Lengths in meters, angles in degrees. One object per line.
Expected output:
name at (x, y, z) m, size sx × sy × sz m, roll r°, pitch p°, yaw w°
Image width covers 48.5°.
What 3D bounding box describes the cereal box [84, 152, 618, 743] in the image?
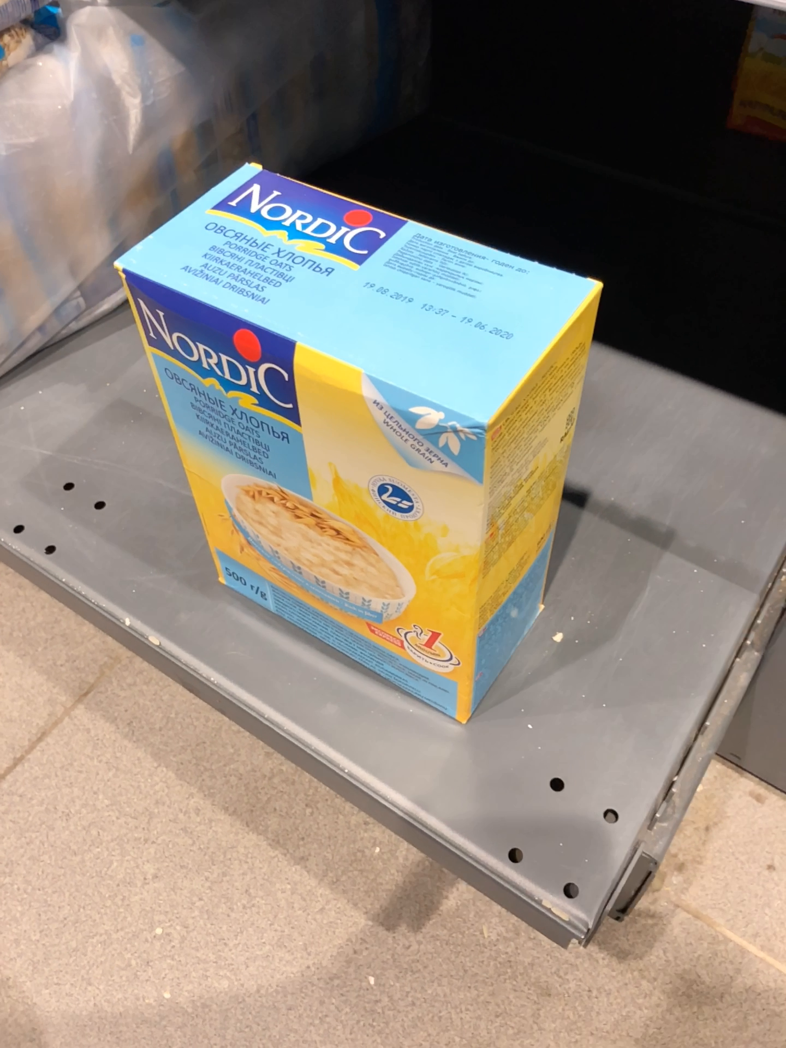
cereal box at (-0.014, -0.023, 0.344) m, size 0.150 × 0.179 × 0.080 m, roll 27°, pitch 56°, yaw 21°
